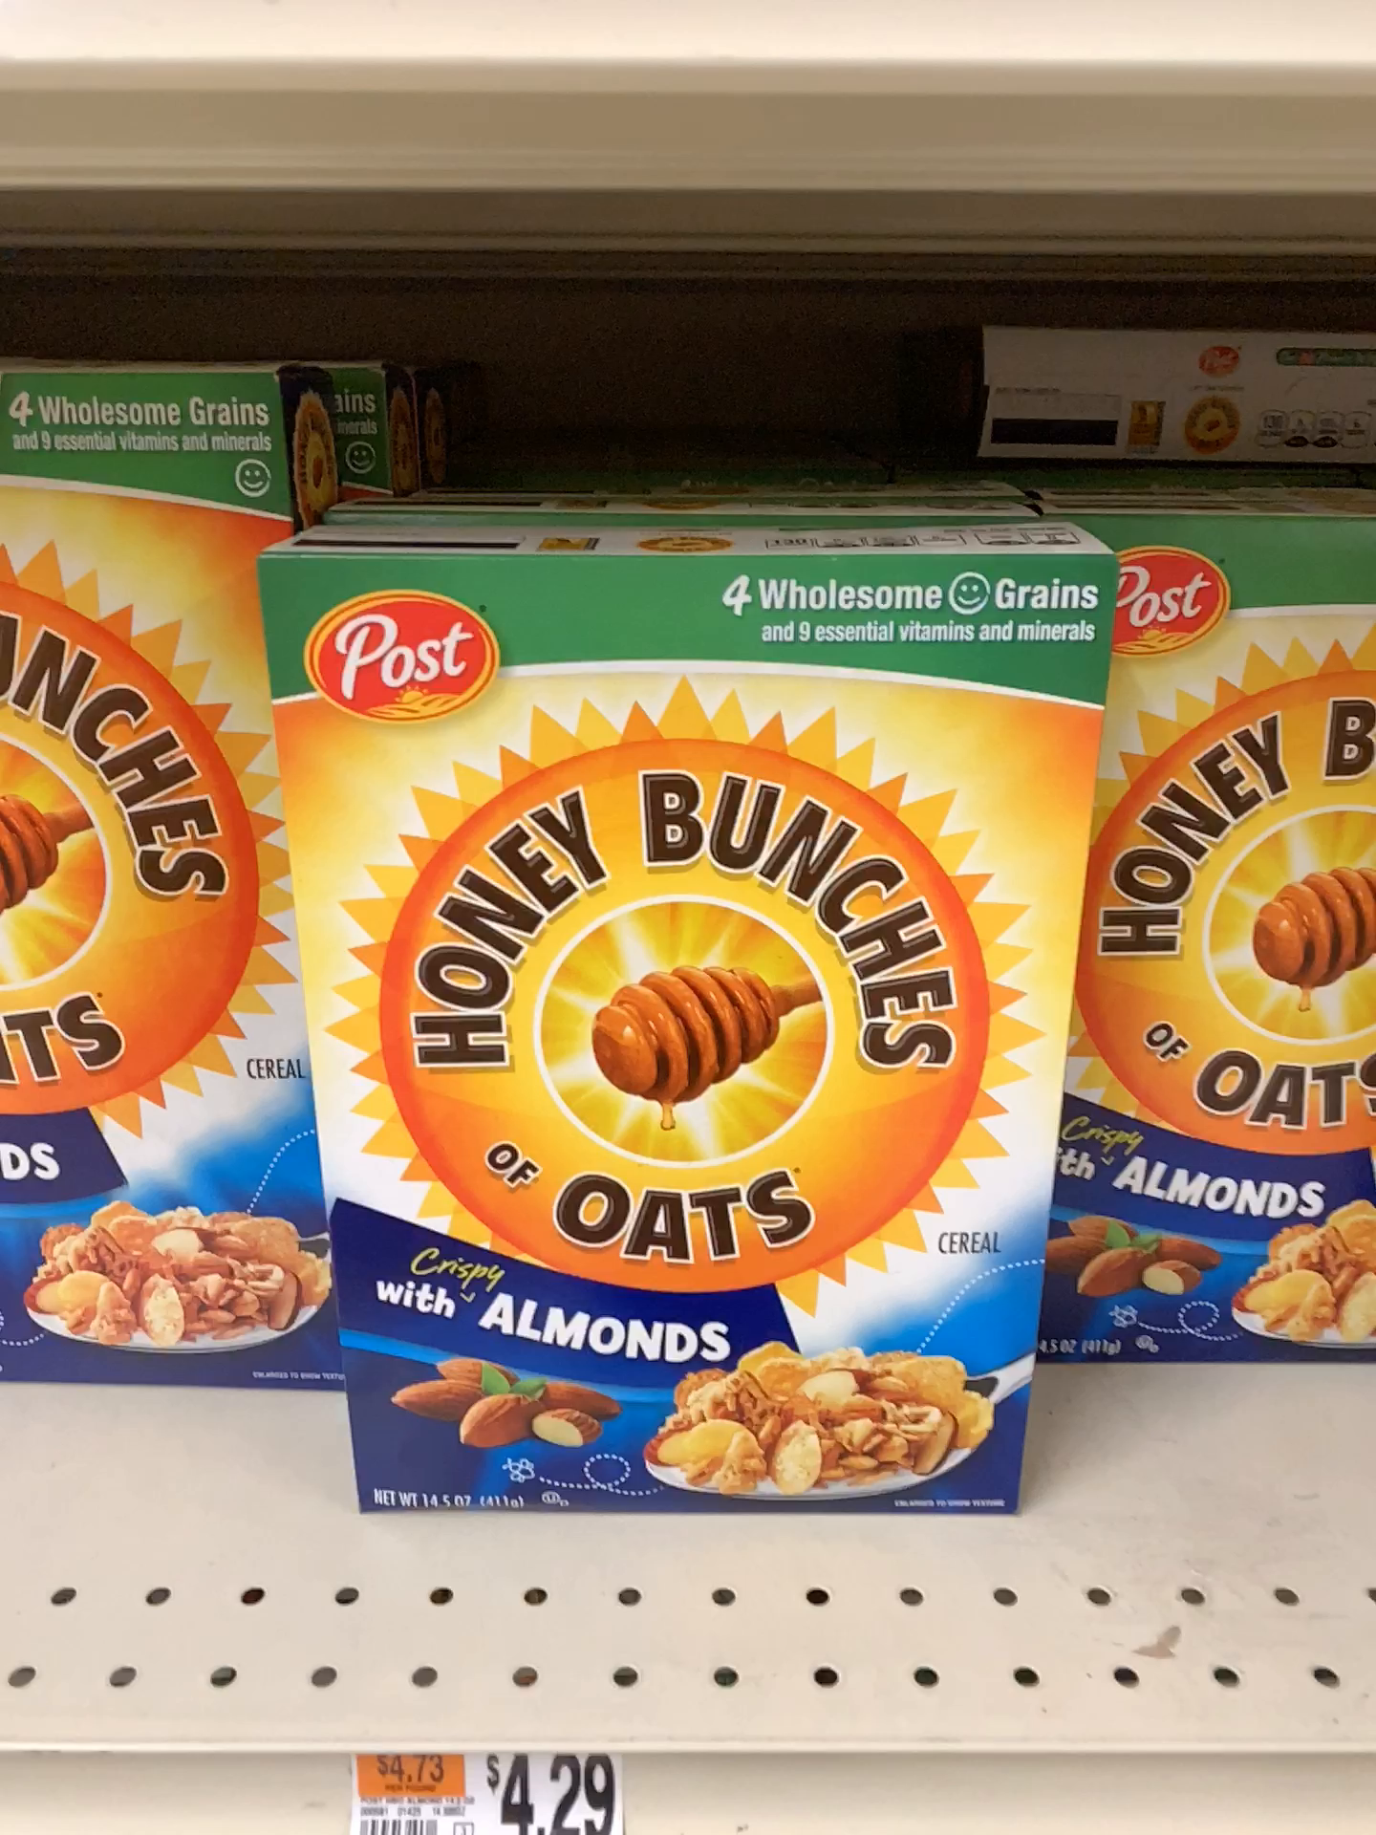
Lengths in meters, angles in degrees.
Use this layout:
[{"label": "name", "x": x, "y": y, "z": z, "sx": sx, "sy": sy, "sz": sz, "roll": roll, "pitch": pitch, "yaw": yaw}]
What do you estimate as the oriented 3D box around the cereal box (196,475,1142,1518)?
[{"label": "cereal box", "x": -0.004, "y": 0.030, "z": 0.378, "sx": 0.200, "sy": 0.279, "sz": 0.060, "roll": 0, "pitch": 22, "yaw": 1}]
